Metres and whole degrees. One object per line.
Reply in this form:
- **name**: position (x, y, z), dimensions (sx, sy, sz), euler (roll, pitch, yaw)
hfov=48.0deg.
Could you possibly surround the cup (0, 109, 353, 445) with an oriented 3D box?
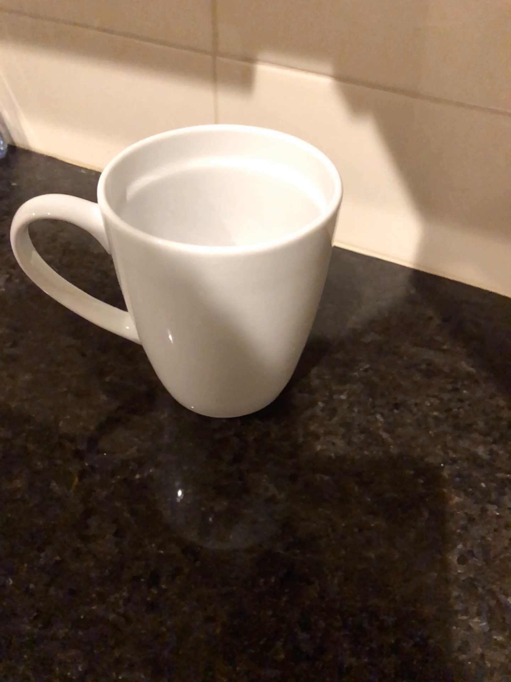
- **cup**: position (-0.033, -0.027, 0.234), dimensions (0.130, 0.090, 0.090), euler (5, 45, 3)
